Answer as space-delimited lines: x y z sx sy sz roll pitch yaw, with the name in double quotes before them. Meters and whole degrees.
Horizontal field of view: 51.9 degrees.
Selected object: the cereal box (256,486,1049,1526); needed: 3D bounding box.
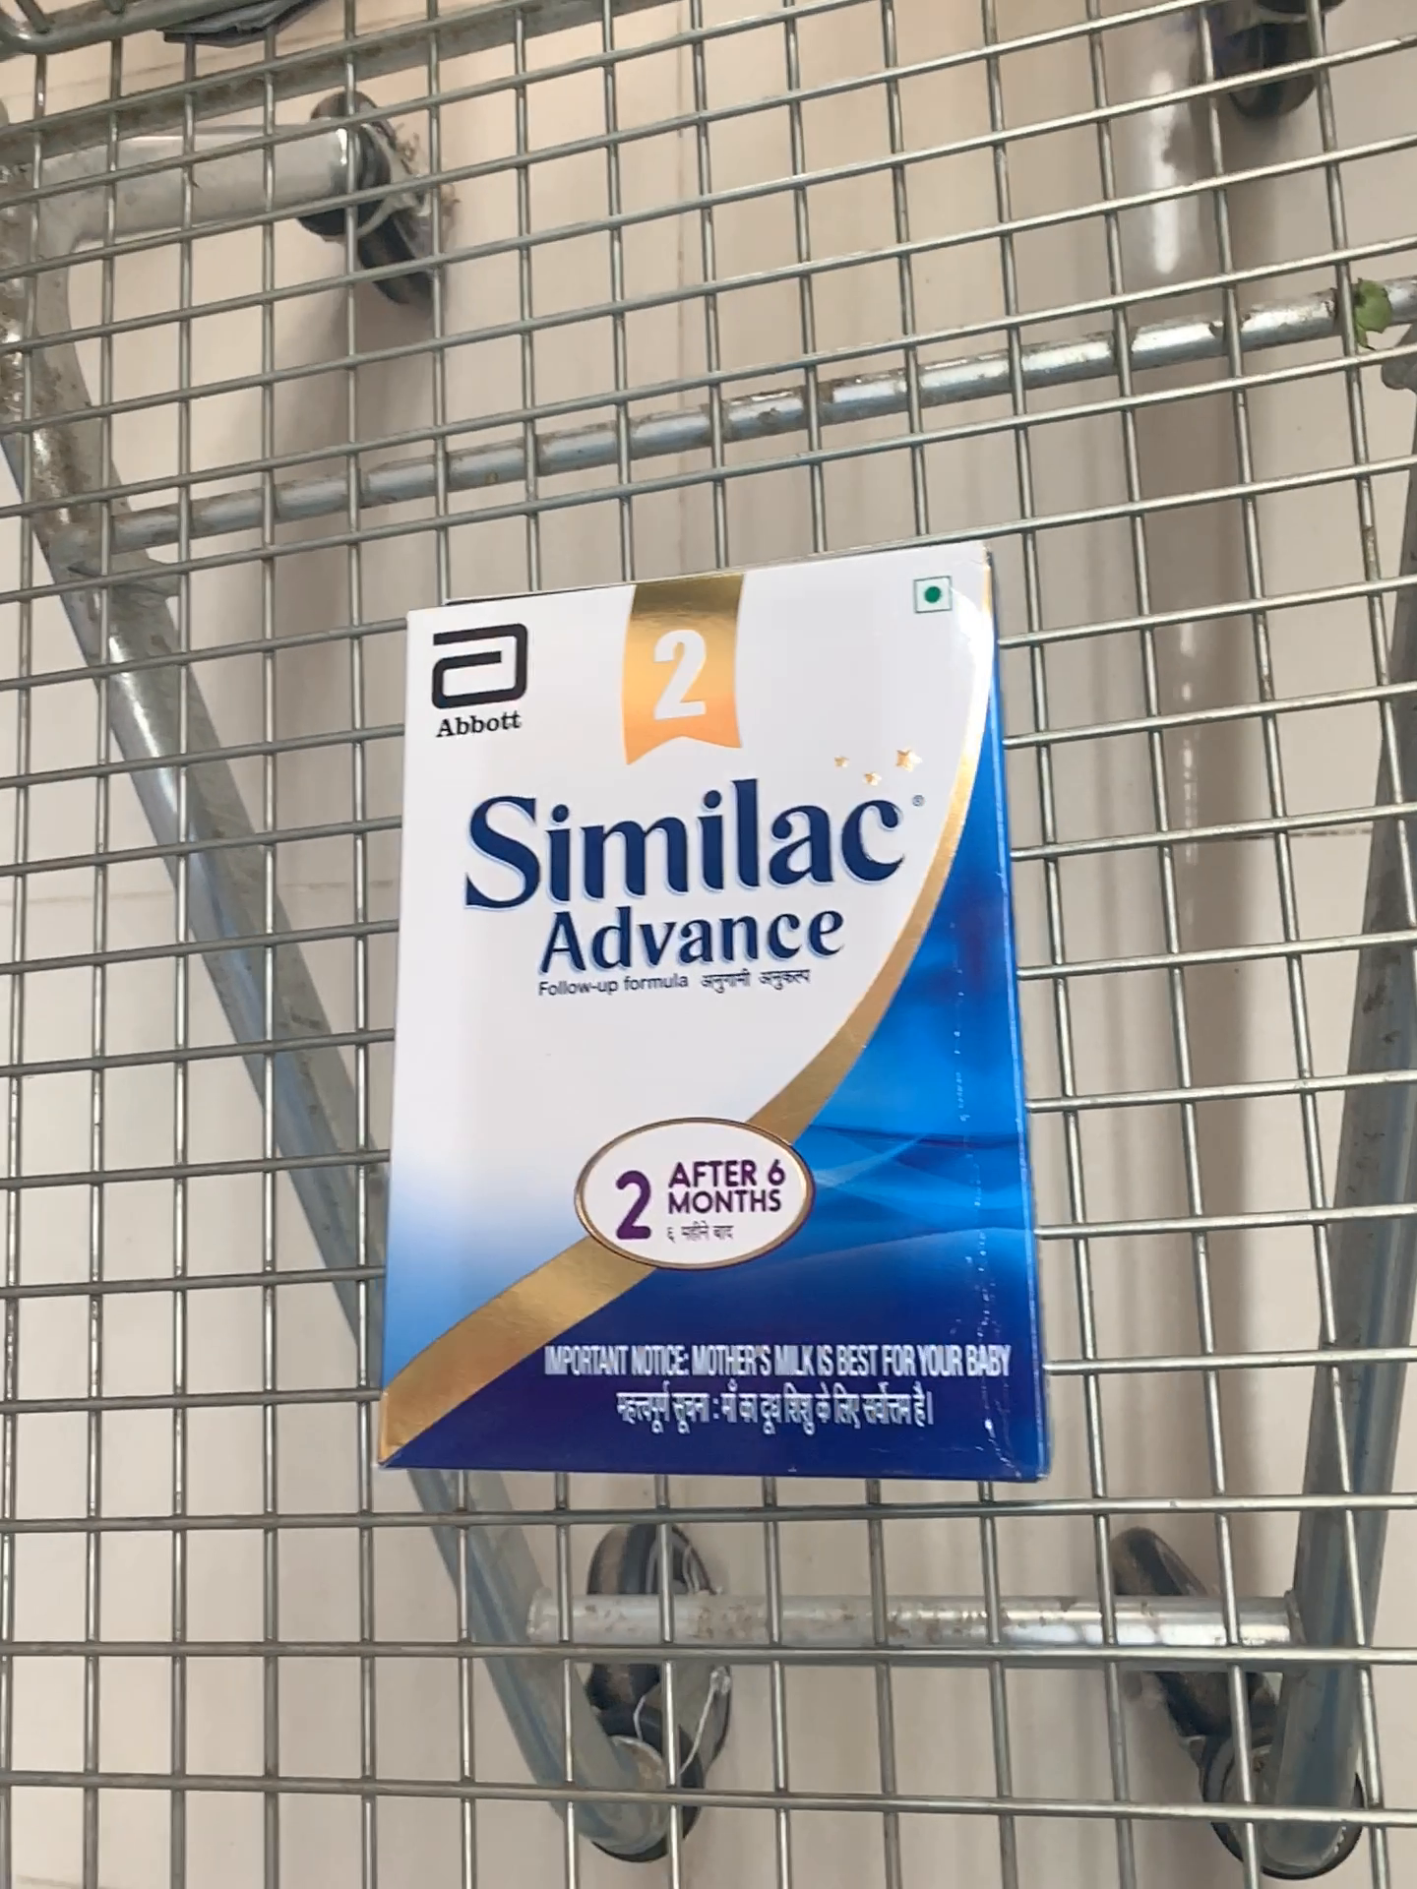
"cereal box" -0.009 0.015 0.320 0.150 0.060 0.200 -4 75 13
